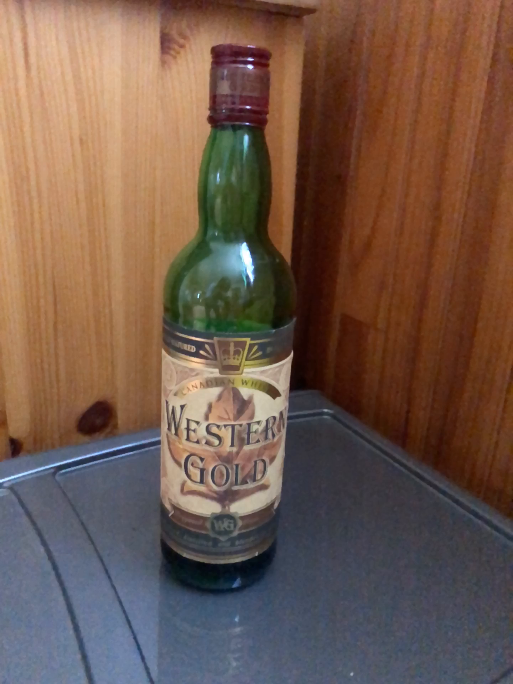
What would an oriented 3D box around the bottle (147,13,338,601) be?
[{"bbox_3d":[-0.013,-0.006,0.322,0.080,0.299,0.080,3,18,-1],"label":"bottle"}]
